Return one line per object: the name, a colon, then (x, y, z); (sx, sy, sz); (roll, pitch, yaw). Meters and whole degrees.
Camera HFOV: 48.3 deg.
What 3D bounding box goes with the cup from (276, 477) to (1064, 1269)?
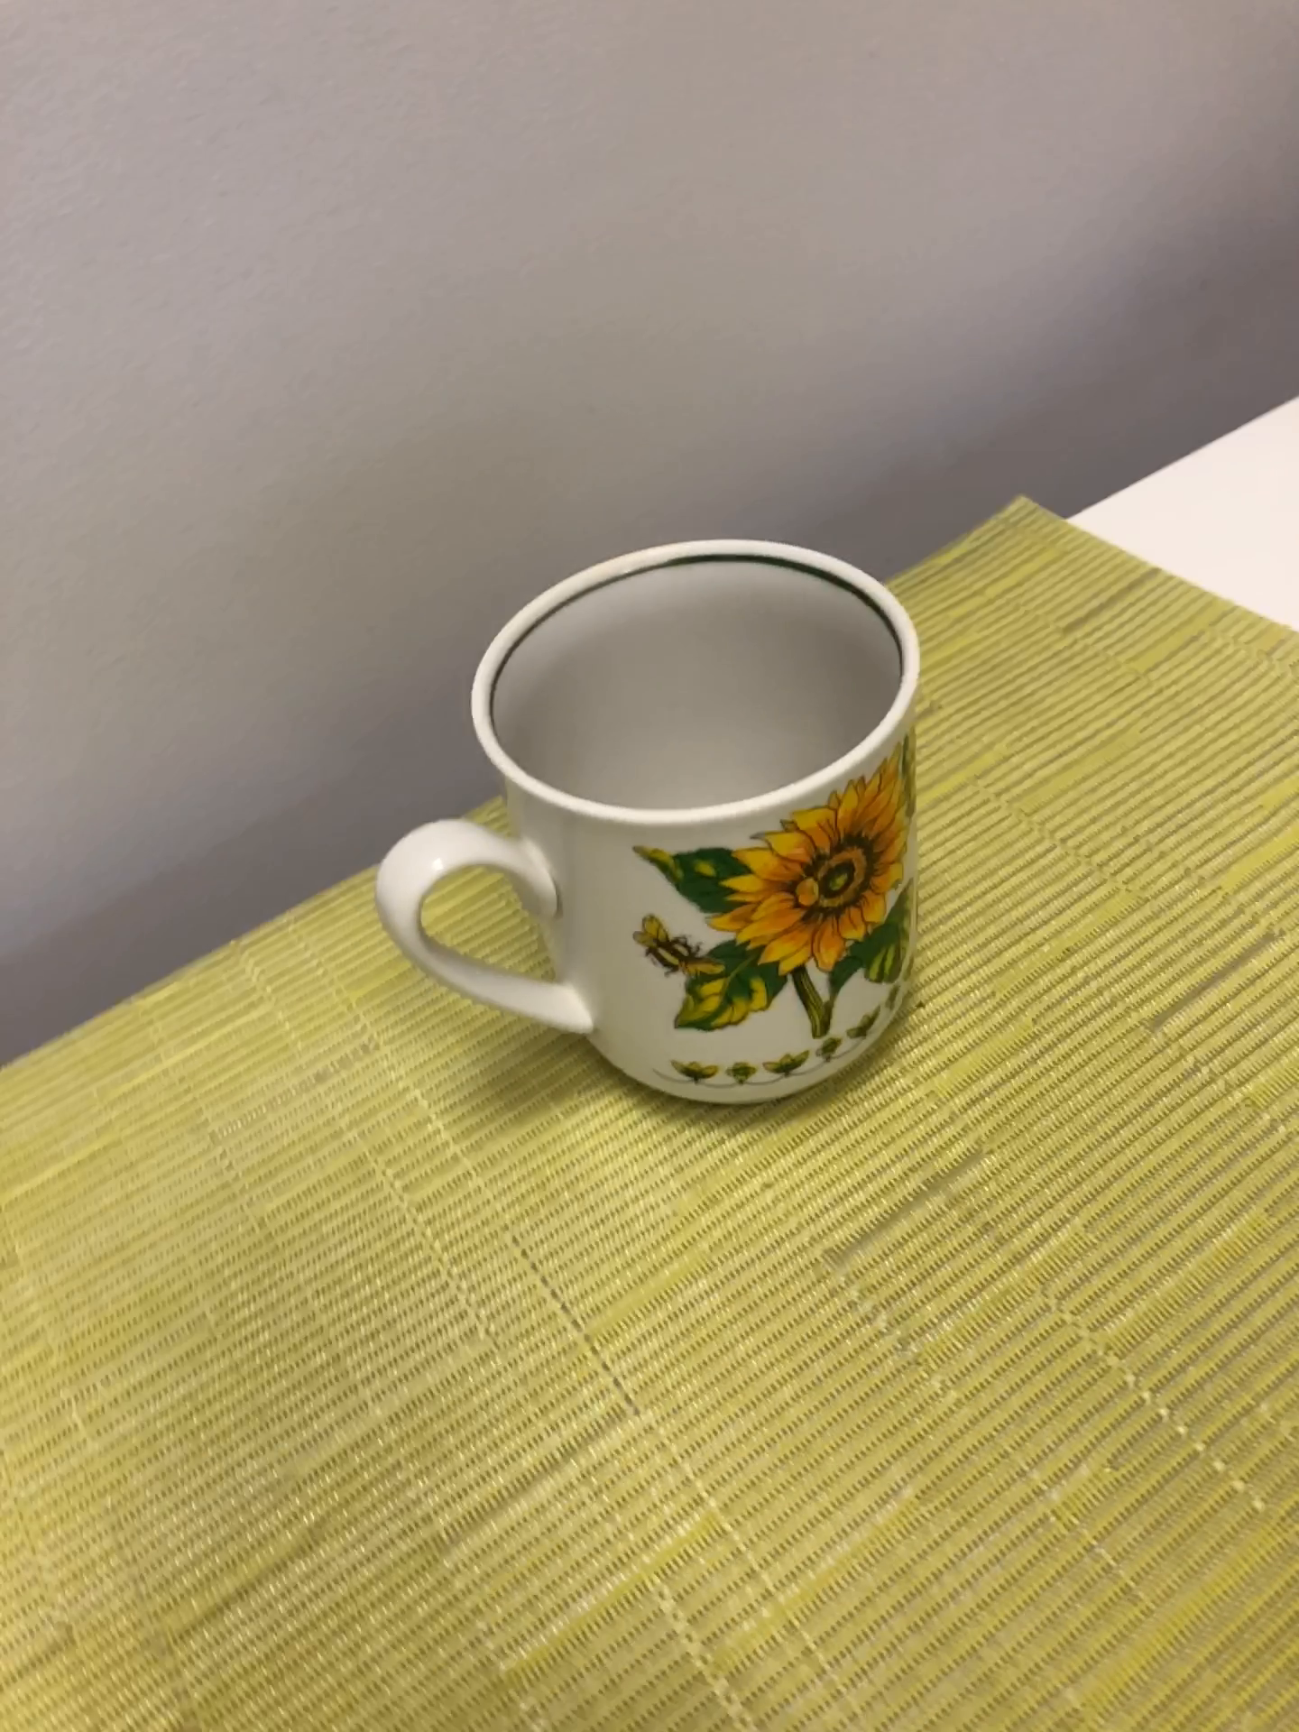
cup: (0.006, -0.004, 0.290); (0.116, 0.084, 0.088); (-27, 44, -16)
